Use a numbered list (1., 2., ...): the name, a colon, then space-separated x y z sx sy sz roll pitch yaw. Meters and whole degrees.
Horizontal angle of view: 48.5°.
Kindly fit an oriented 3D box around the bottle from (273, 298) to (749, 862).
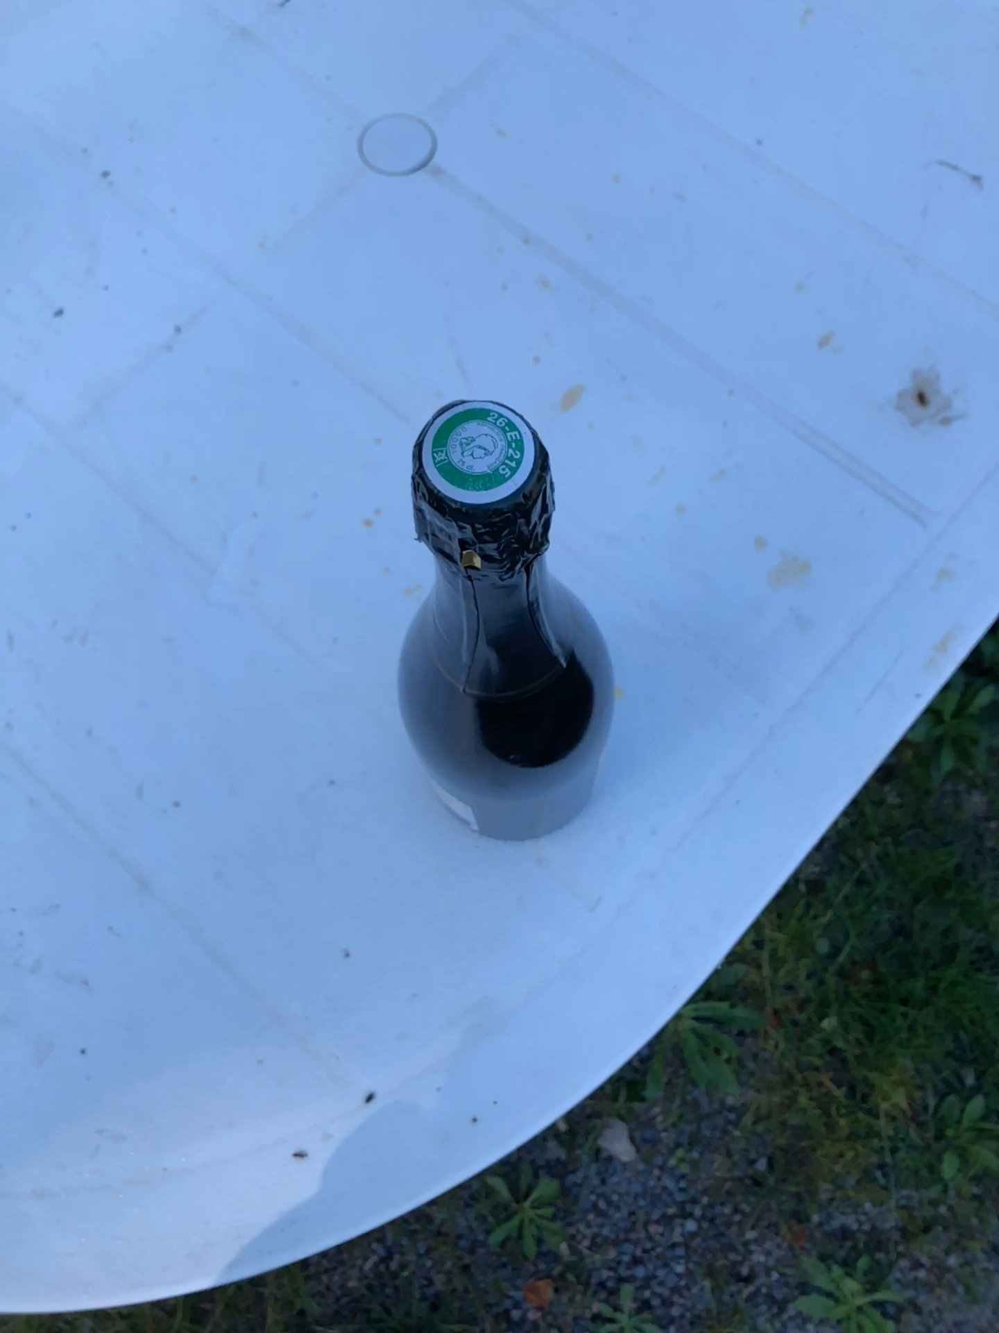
1. bottle: 0.001 0.003 0.395 0.100 0.309 0.090 -1 73 -1
